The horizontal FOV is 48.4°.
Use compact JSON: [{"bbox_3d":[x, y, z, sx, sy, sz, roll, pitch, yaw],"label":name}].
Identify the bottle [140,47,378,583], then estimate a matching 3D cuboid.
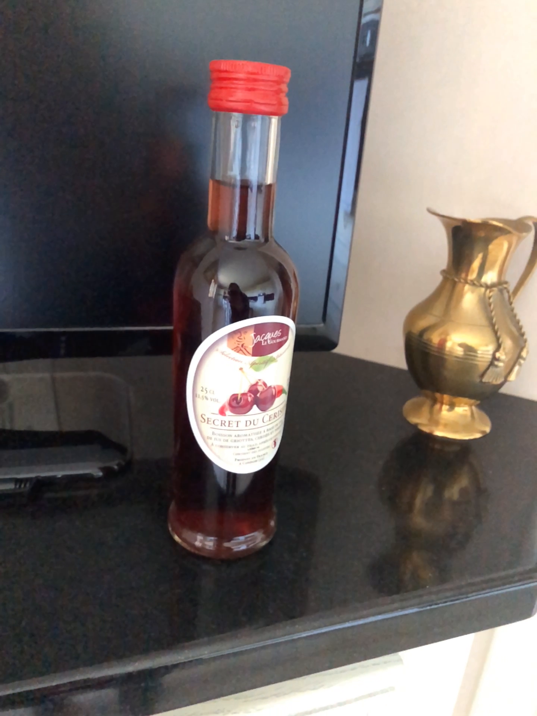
[{"bbox_3d":[-0.015,-0.015,0.276,0.070,0.219,0.070,4,22,-2],"label":"bottle"}]
